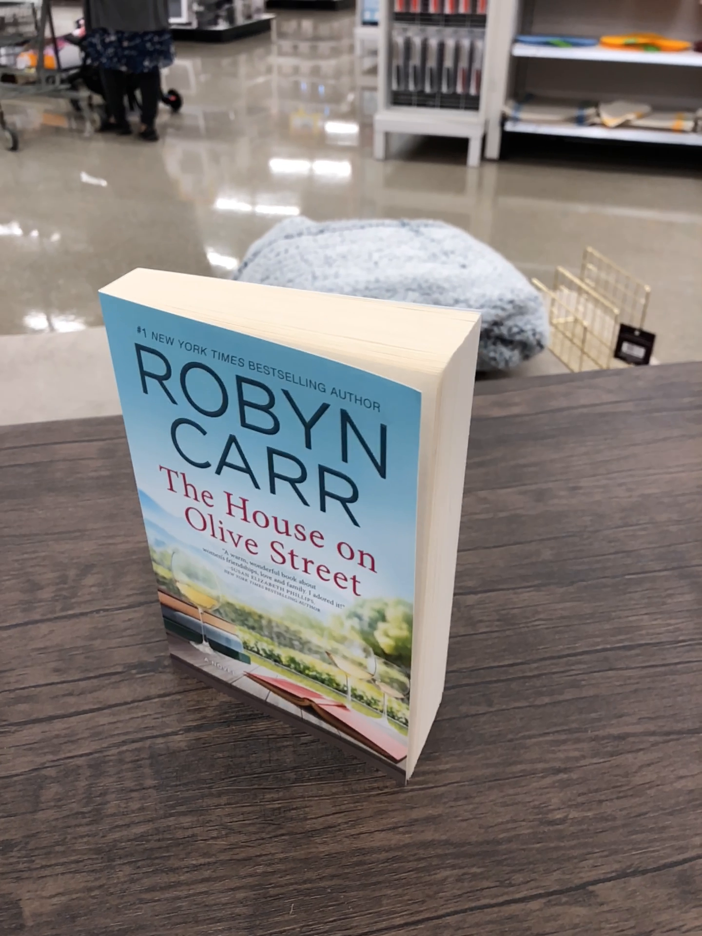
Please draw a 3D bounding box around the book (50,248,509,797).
[{"bbox_3d":[-0.025,0.026,0.315,0.146,0.195,0.050,16,39,22],"label":"book"}]
